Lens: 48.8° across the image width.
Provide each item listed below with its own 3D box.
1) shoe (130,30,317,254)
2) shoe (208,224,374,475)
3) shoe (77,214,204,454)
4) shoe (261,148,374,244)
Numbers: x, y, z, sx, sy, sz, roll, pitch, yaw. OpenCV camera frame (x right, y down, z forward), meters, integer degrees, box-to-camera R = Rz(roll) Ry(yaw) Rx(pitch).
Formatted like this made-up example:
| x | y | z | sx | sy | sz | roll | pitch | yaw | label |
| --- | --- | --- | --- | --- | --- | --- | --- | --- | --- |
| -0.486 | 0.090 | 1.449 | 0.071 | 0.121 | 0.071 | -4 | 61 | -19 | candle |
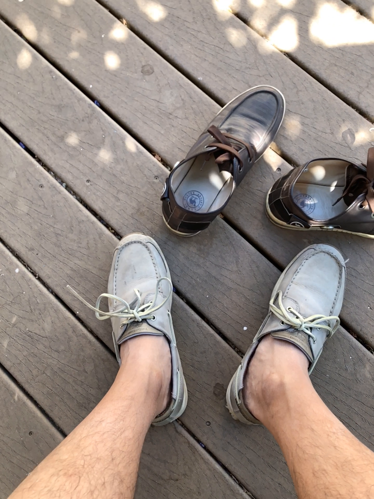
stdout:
| x | y | z | sx | sy | sz | roll | pitch | yaw | label |
| --- | --- | --- | --- | --- | --- | --- | --- | --- | --- |
| 0.056 | -0.156 | 0.635 | 0.110 | 0.111 | 0.303 | 34 | 86 | 8 | shoe |
| 0.149 | 0.132 | 0.594 | 0.110 | 0.111 | 0.303 | 26 | 85 | 7 | shoe |
| -0.064 | 0.116 | 0.614 | 0.110 | 0.111 | 0.303 | -13 | 82 | 3 | shoe |
| 0.269 | -0.075 | 0.605 | 0.303 | 0.111 | 0.110 | 1 | 83 | 5 | shoe |
